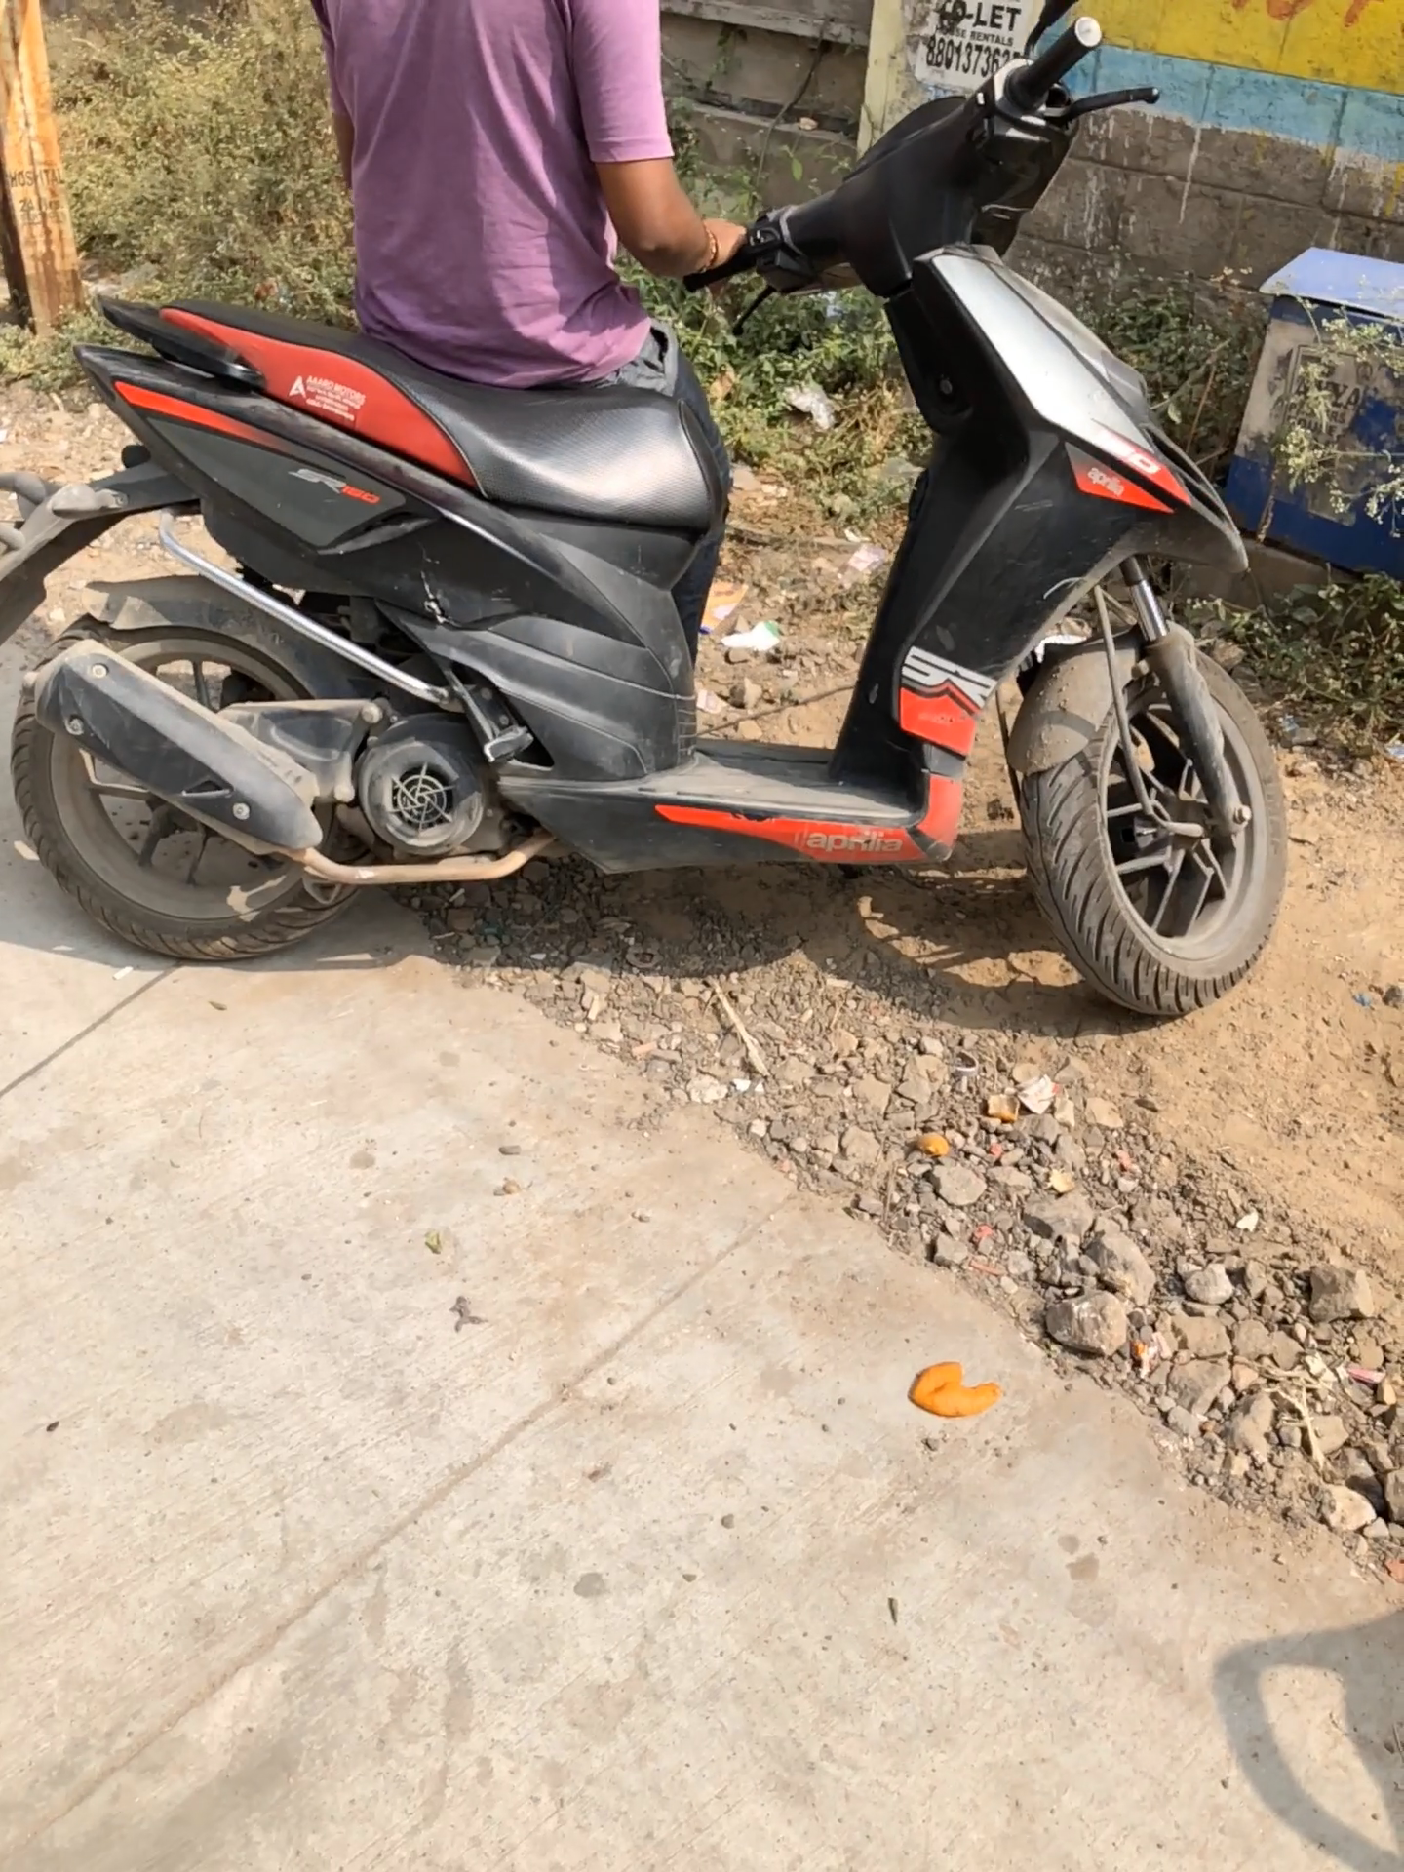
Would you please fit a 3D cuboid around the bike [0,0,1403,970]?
[{"bbox_3d":[-0.060,-0.720,2.202,1.765,1.199,0.722,-3,36,-7],"label":"bike"}]
